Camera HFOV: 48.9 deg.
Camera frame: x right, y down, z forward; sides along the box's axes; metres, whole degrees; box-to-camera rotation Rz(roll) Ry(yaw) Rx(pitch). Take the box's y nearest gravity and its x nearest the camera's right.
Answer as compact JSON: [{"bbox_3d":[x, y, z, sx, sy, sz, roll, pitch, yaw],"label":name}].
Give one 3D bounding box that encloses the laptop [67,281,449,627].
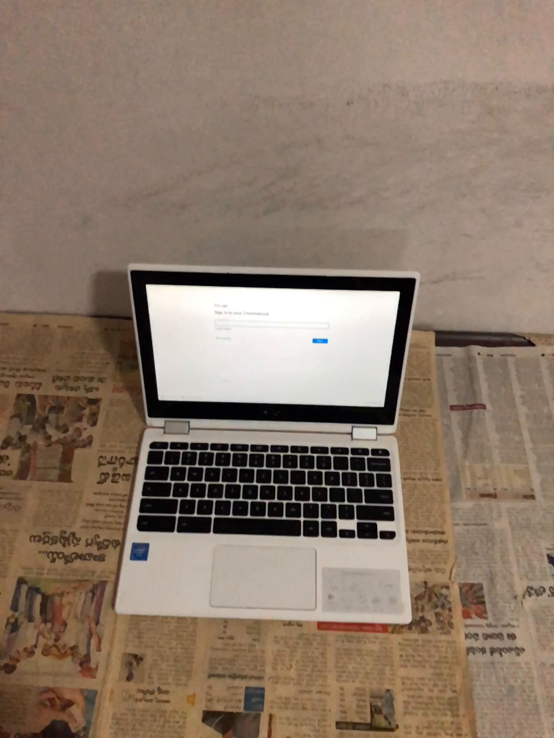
[{"bbox_3d":[-0.009,0.078,0.577,0.268,0.168,0.279,2,57,1],"label":"laptop"}]
